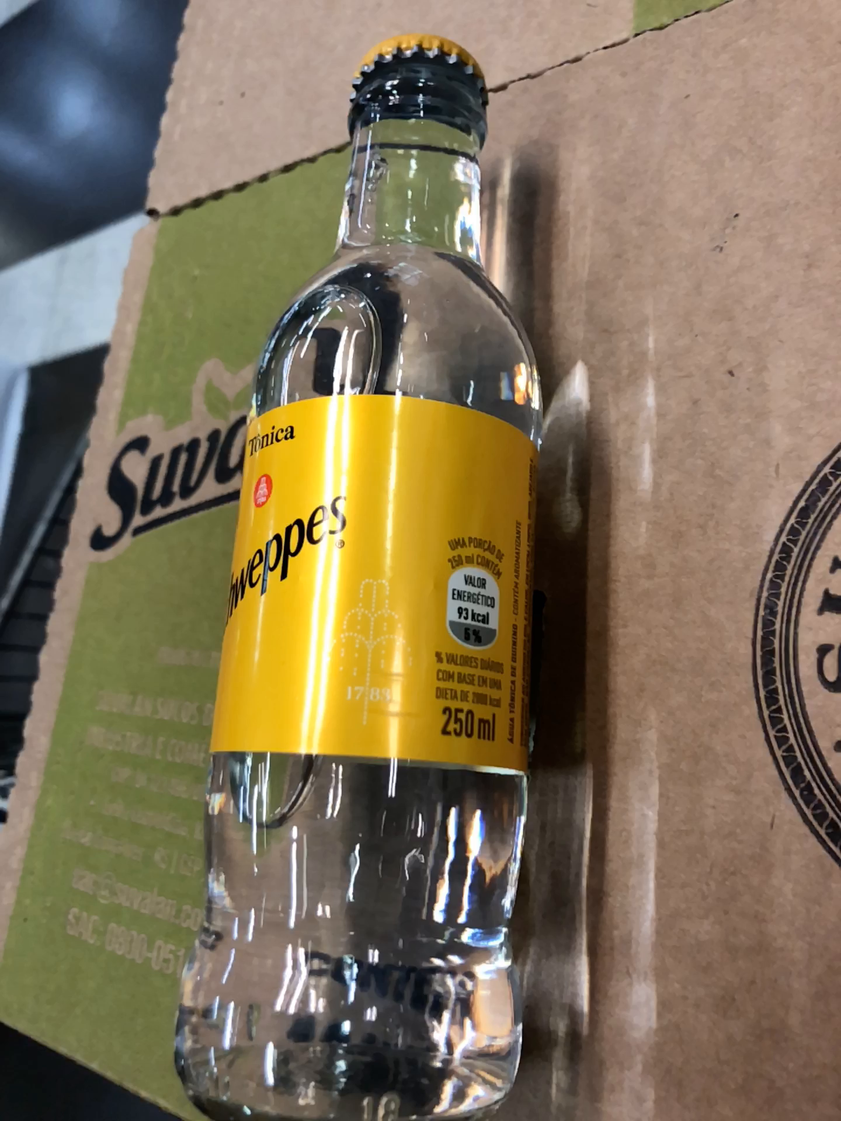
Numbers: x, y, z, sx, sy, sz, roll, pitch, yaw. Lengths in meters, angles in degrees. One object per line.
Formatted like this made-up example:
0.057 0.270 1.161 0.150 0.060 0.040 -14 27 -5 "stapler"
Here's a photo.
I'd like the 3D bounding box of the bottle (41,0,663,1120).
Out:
-0.002 -0.029 0.181 0.070 0.070 0.240 -8 71 35 "bottle"
